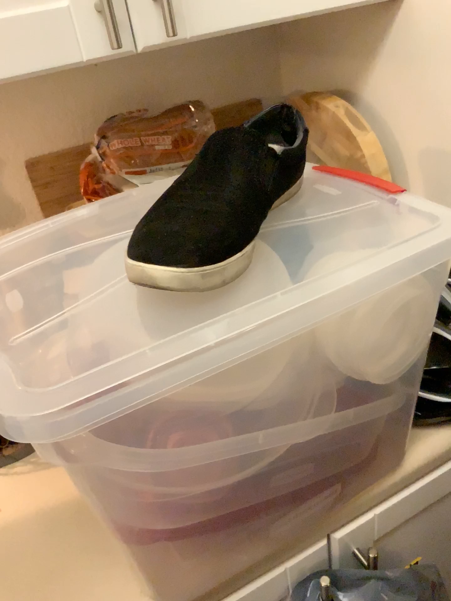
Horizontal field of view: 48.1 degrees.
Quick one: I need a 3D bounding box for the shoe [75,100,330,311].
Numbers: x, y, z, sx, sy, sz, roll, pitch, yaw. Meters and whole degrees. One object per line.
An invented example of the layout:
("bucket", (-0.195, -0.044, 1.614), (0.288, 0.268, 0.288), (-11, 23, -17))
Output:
("shoe", (0.005, -0.100, 0.435), (0.100, 0.070, 0.270), (7, 36, 25))
